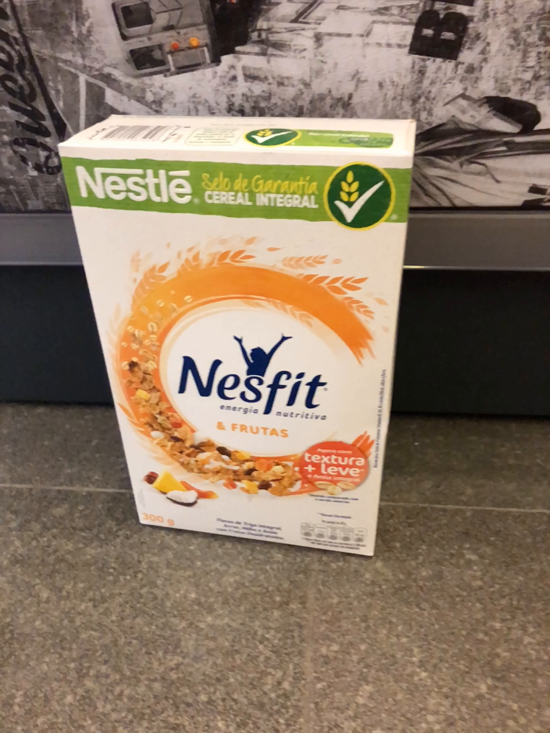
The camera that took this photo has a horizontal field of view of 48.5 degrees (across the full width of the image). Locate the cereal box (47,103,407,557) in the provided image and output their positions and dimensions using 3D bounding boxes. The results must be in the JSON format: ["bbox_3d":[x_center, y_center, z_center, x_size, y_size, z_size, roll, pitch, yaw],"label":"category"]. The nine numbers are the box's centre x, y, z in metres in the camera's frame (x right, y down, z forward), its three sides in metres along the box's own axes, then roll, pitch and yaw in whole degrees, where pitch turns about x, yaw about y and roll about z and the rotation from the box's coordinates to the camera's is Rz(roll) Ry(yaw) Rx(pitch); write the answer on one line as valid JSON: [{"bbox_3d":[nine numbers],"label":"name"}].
[{"bbox_3d":[-0.012,-0.010,0.348,0.150,0.248,0.071,5,36,10],"label":"cereal box"}]
